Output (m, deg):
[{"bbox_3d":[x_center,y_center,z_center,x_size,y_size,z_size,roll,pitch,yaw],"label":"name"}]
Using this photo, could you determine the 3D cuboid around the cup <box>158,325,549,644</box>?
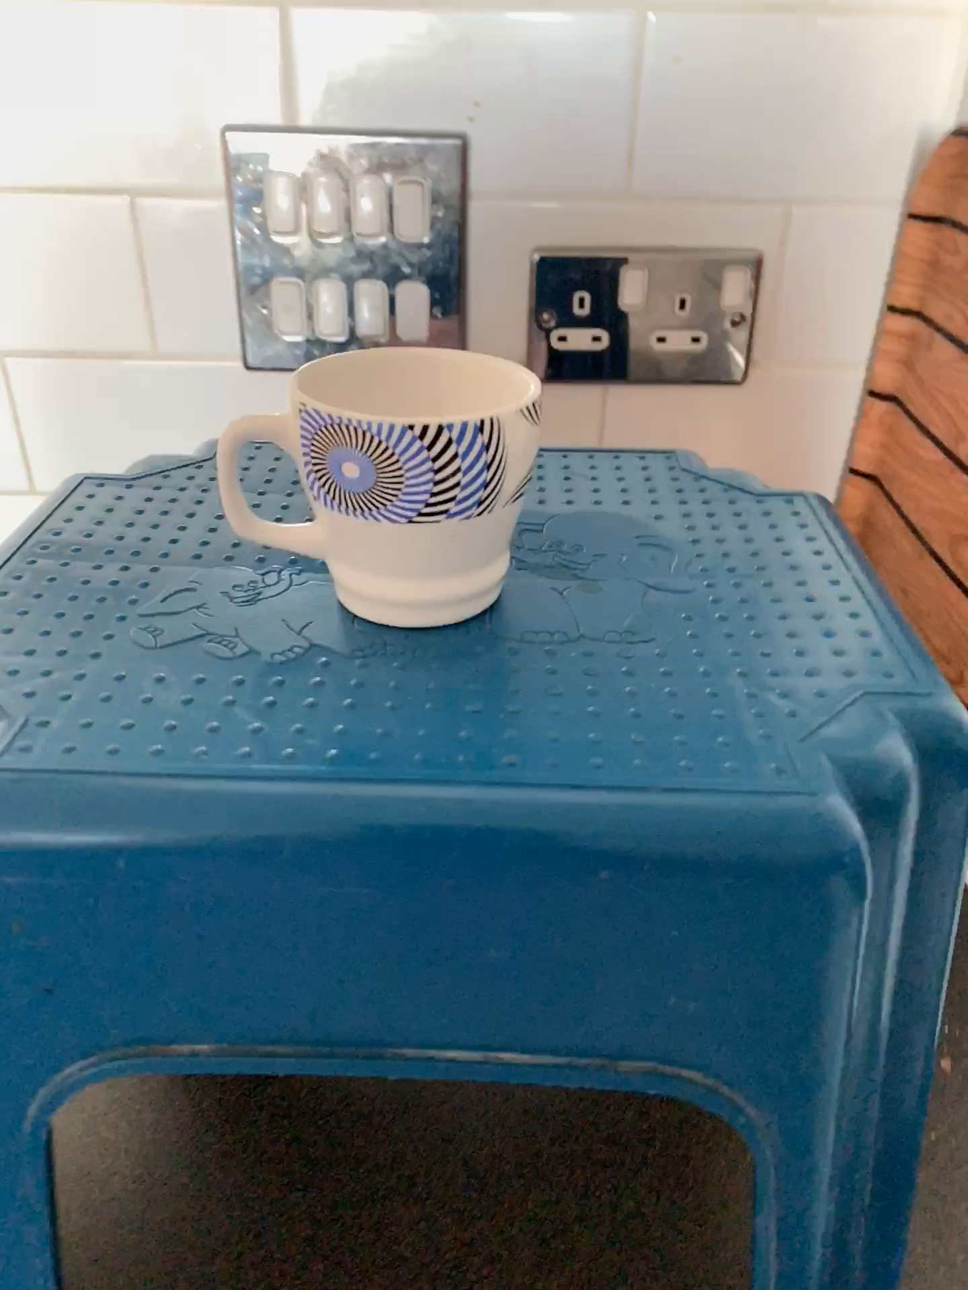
[{"bbox_3d":[-0.028,-0.047,0.268,0.085,0.054,0.079,1,31,-1],"label":"cup"}]
